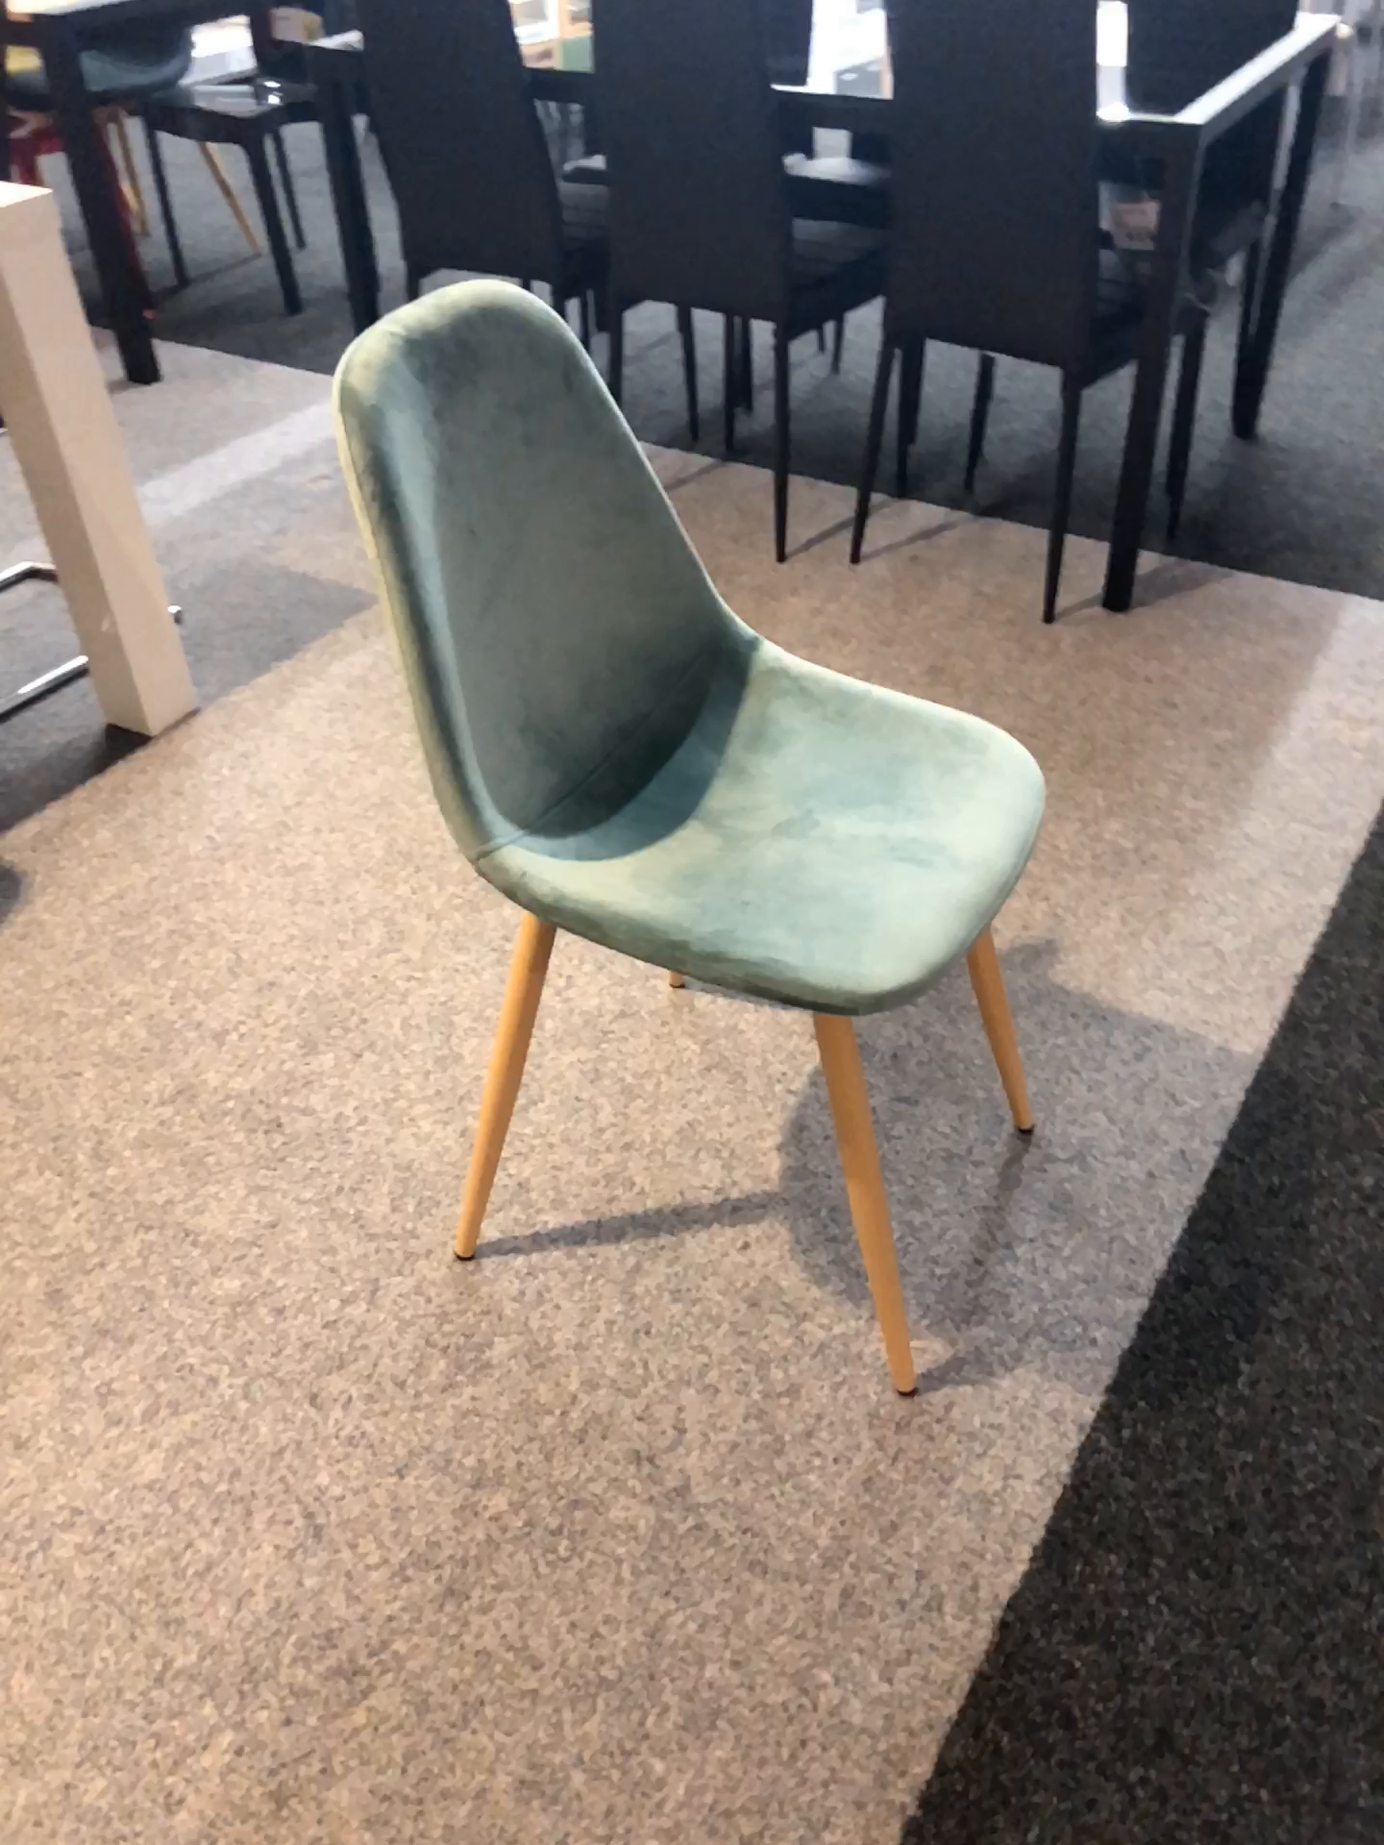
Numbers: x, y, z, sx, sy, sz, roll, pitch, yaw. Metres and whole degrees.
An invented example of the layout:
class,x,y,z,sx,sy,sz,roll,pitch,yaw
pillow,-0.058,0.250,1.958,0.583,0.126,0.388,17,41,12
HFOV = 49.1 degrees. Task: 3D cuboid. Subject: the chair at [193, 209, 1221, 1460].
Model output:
class,x,y,z,sx,sy,sz,roll,pitch,yaw
chair,0.048,-0.079,1.286,0.549,0.835,0.473,15,41,21
